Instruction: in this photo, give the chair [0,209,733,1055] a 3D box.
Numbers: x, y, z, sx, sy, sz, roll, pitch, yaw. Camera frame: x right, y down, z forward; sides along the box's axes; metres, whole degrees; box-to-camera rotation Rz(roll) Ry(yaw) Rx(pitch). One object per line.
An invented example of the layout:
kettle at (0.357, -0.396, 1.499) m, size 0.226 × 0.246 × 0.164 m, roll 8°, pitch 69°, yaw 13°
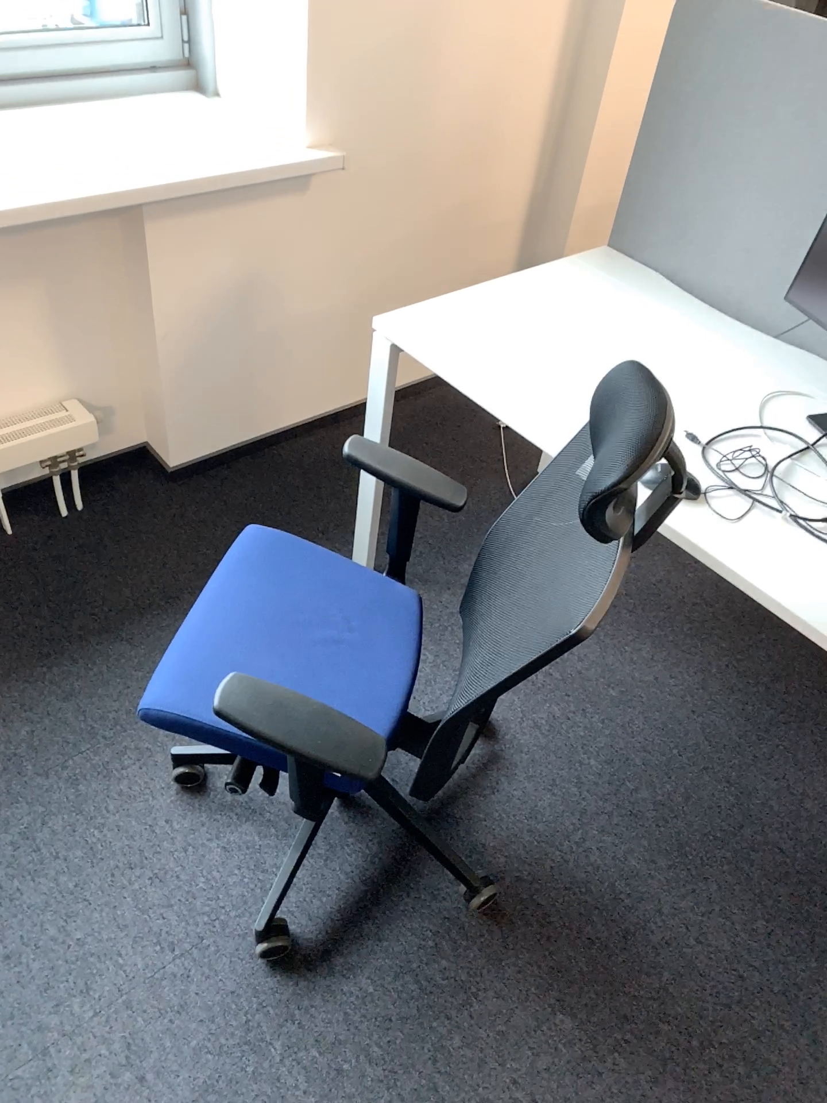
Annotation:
chair at (-0.052, 0.153, 1.477) m, size 0.790 × 1.074 × 0.754 m, roll 18°, pitch 43°, yaw 9°
